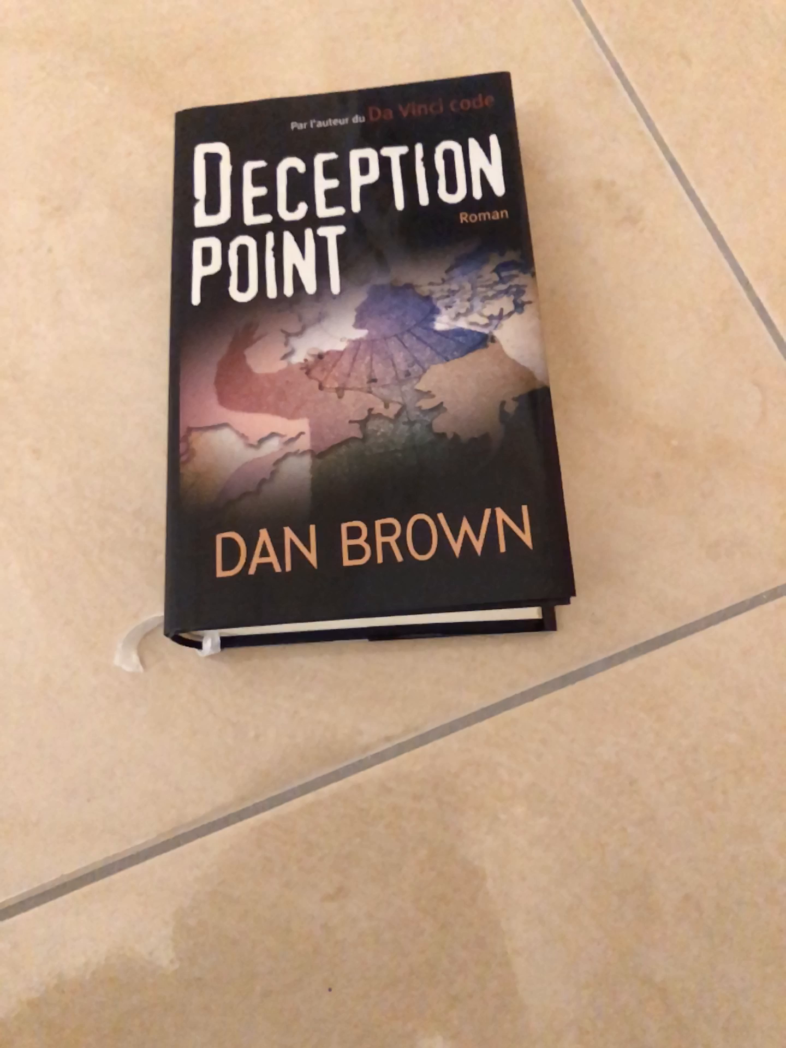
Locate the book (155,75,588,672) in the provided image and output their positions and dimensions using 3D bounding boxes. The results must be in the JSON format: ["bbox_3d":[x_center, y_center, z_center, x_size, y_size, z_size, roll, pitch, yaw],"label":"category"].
[{"bbox_3d":[-0.011,-0.058,0.321,0.136,0.037,0.213,-4,73,5],"label":"book"}]
